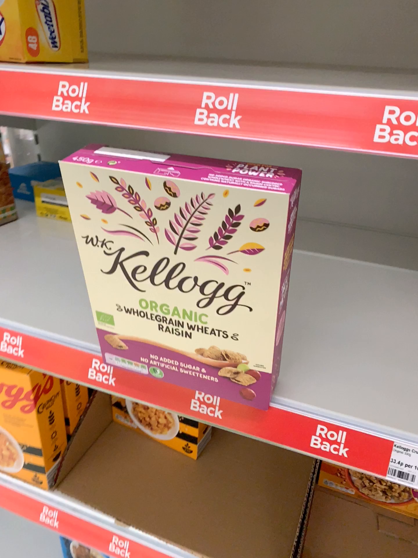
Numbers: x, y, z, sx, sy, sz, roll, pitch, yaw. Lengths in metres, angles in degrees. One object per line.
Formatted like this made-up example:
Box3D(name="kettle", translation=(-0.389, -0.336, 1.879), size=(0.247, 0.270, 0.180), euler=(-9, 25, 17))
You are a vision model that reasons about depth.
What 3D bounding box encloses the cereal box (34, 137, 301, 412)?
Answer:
Box3D(name="cereal box", translation=(-0.032, -0.002, 0.393), size=(0.200, 0.218, 0.061), euler=(11, 35, 18))
